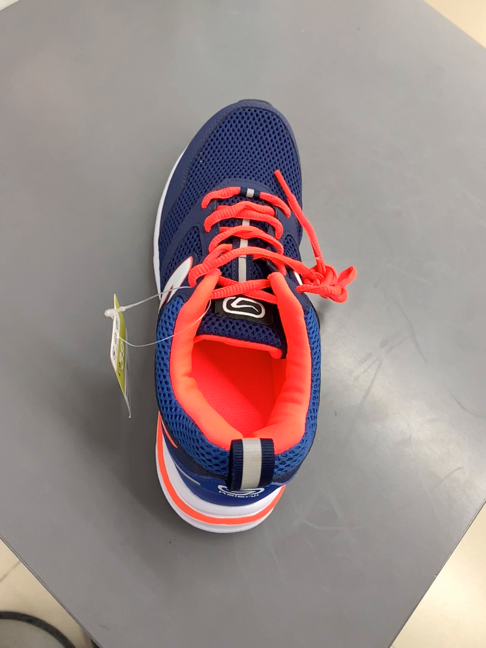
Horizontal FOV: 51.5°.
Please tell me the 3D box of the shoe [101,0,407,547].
[{"bbox_3d":[0.000,-0.035,0.293,0.110,0.140,0.290,4,71,-7],"label":"shoe"}]
